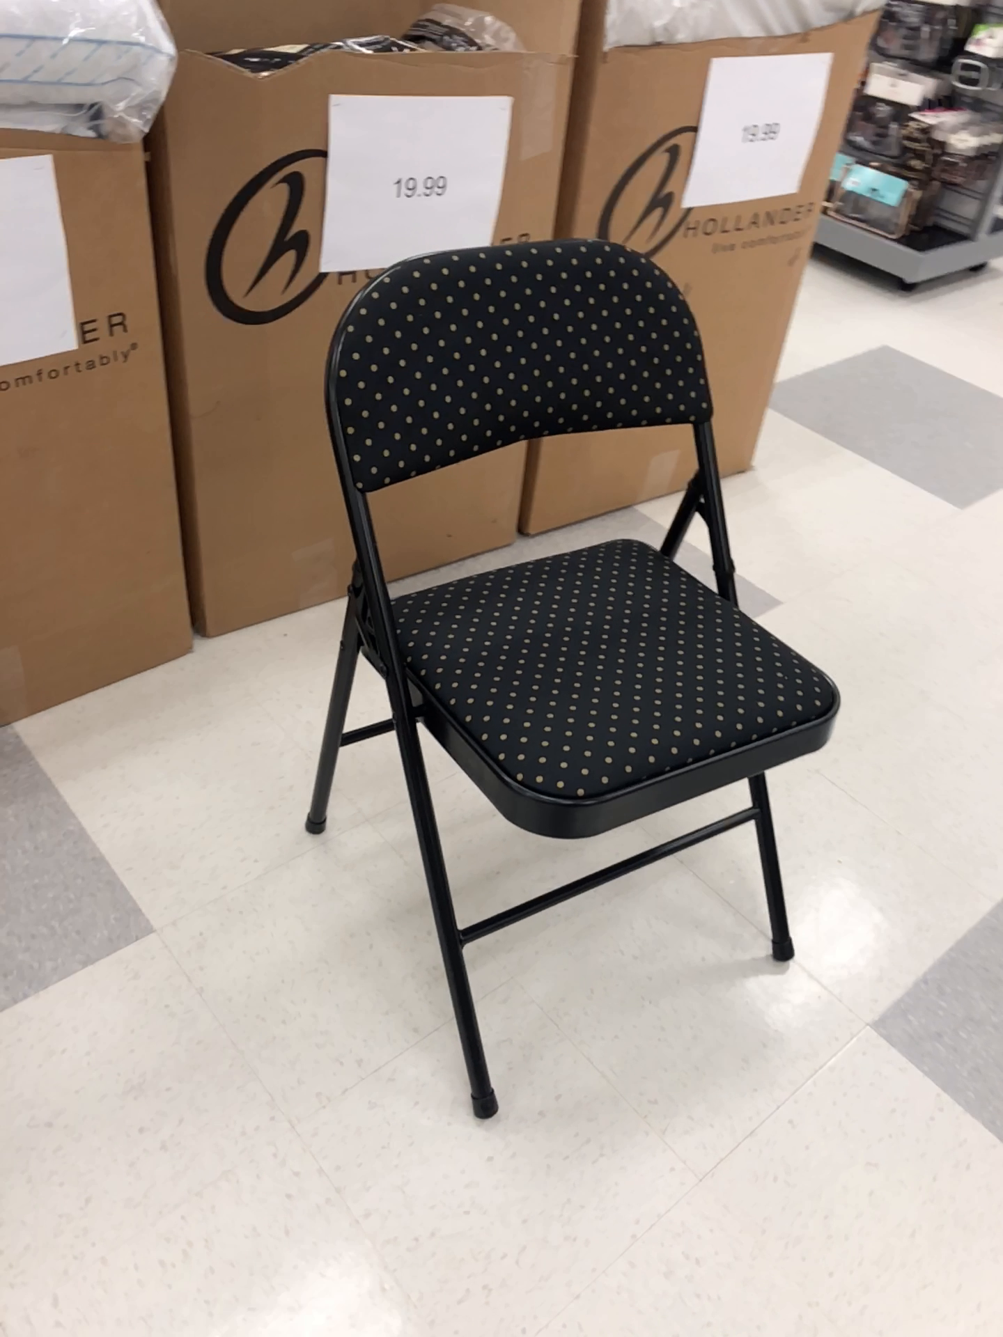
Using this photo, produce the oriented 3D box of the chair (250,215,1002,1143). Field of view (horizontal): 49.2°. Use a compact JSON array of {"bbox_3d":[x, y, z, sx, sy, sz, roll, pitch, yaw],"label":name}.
[{"bbox_3d":[0.077,-0.009,1.191,0.486,0.729,0.540,-18,46,-27],"label":"chair"}]
